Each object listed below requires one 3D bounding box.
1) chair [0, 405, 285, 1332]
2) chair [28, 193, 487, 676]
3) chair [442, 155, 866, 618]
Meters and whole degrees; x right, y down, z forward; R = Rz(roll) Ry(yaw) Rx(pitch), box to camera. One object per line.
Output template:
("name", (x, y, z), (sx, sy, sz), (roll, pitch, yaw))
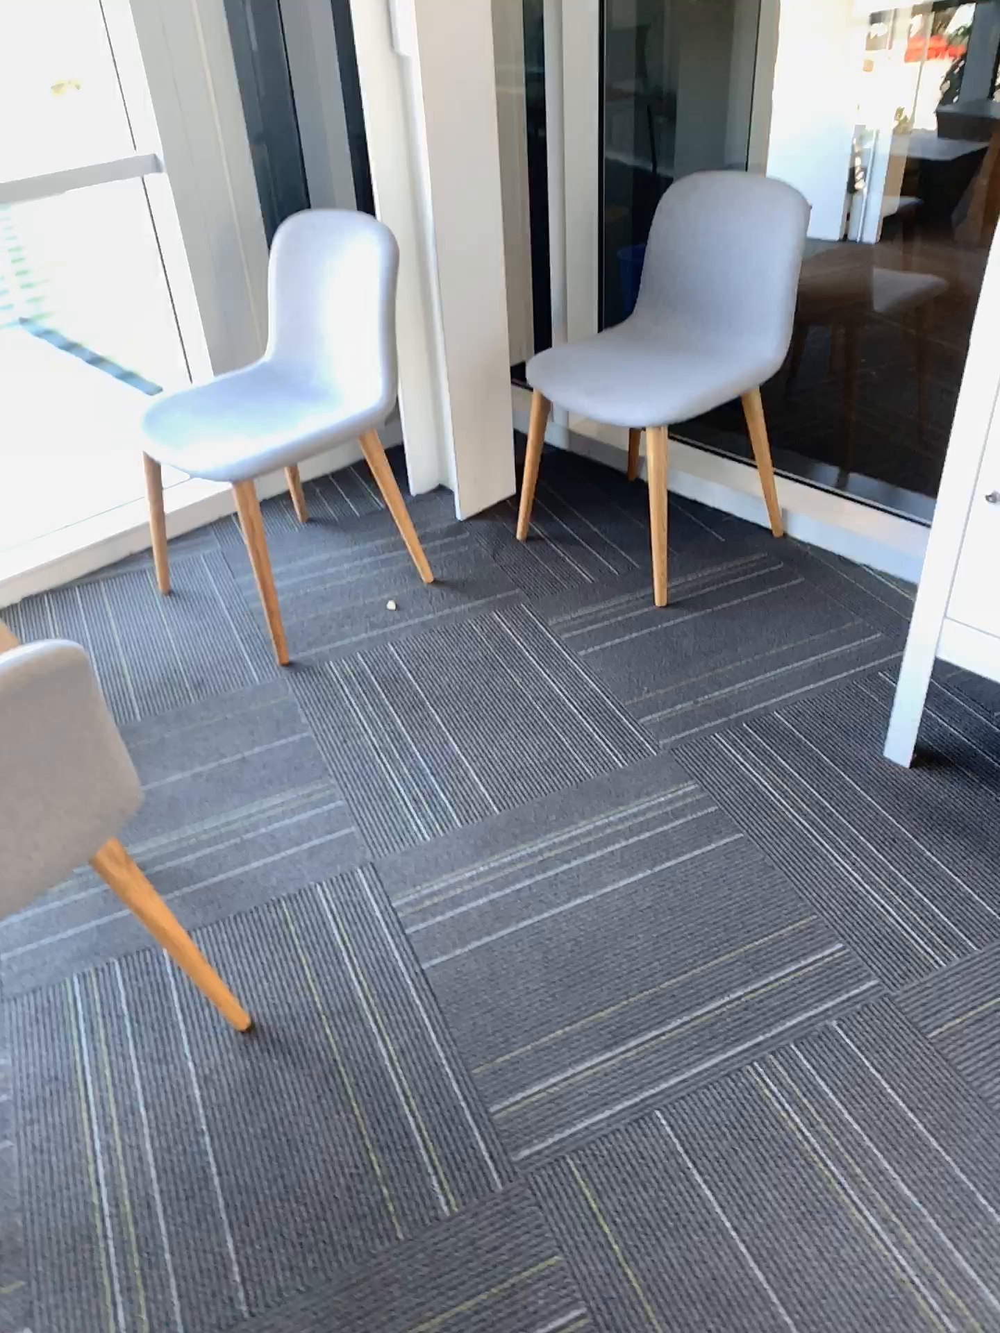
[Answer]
("chair", (-0.735, 0.205, 1.248), (0.561, 0.765, 0.603), (-31, 45, -32))
("chair", (-0.487, -0.542, 2.230), (0.643, 0.745, 0.601), (28, 47, 36))
("chair", (0.336, -0.675, 2.340), (0.643, 0.765, 0.601), (28, 47, 36))
